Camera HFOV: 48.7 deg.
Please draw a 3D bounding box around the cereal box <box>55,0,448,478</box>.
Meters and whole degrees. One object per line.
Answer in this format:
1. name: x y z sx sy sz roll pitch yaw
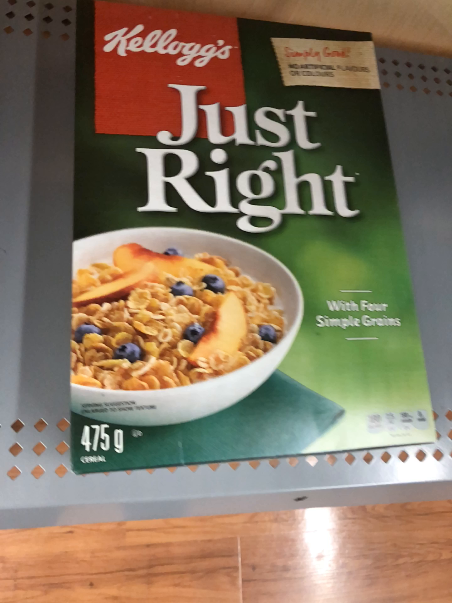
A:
1. cereal box: 0.005 -0.045 0.309 0.200 0.060 0.270 -1 74 -13
